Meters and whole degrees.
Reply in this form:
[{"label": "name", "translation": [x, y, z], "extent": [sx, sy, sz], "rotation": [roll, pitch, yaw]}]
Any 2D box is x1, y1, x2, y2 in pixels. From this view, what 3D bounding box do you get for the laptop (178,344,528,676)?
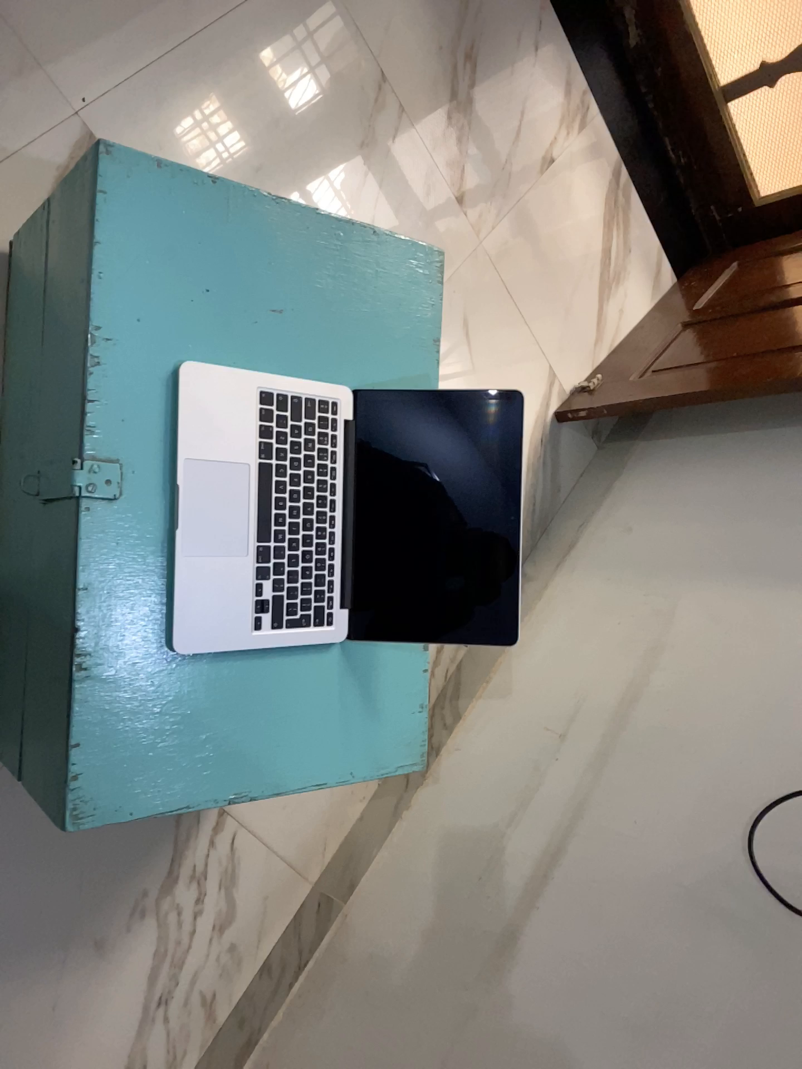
[{"label": "laptop", "translation": [-0.042, -0.021, 0.939], "extent": [0.379, 0.148, 0.313], "rotation": [1, 90, -38]}]
